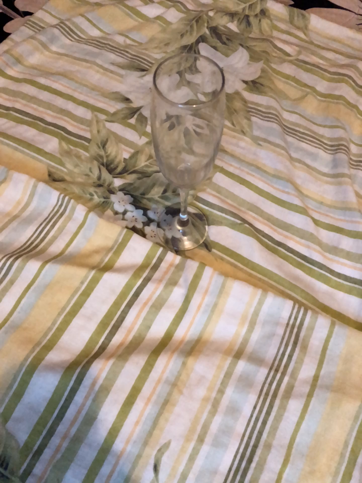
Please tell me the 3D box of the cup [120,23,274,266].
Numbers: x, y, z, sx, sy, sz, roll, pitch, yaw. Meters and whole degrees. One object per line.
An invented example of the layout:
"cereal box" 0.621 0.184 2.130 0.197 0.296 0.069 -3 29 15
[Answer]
"cup" 0.007 -0.070 0.377 0.082 0.218 0.071 -40 72 -20
